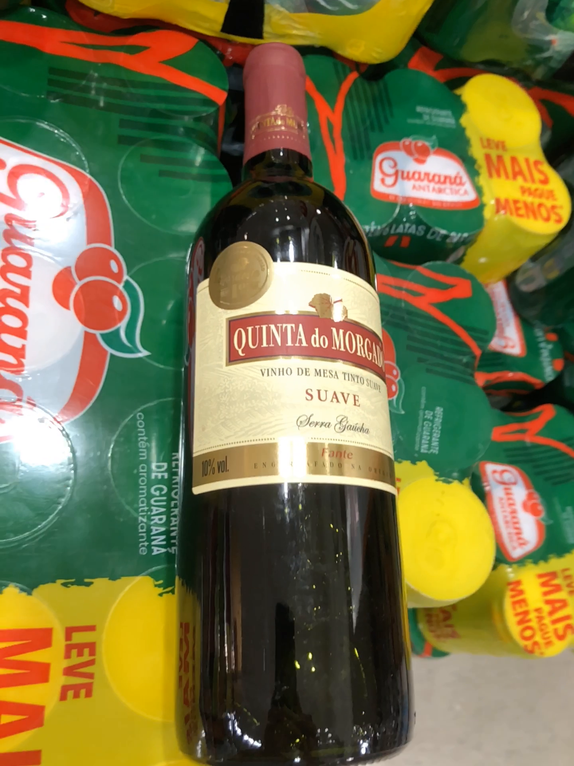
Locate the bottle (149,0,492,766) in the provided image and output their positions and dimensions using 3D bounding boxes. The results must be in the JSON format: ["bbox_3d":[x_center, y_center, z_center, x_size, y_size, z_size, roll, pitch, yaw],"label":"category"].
[{"bbox_3d":[0.006,-0.015,0.241,0.080,0.070,0.270,11,68,-35],"label":"bottle"}]
